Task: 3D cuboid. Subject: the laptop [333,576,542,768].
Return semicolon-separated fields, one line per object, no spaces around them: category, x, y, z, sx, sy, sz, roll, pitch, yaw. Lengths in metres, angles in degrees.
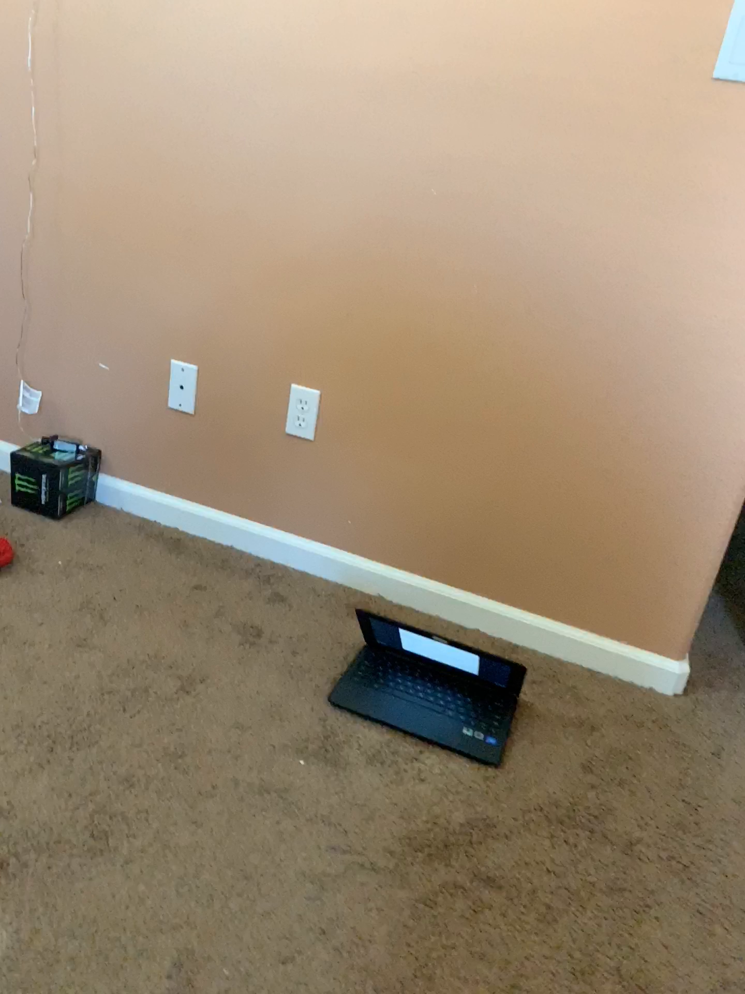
laptop;0.112;0.280;1.272;0.292;0.140;0.193;17;23;14
